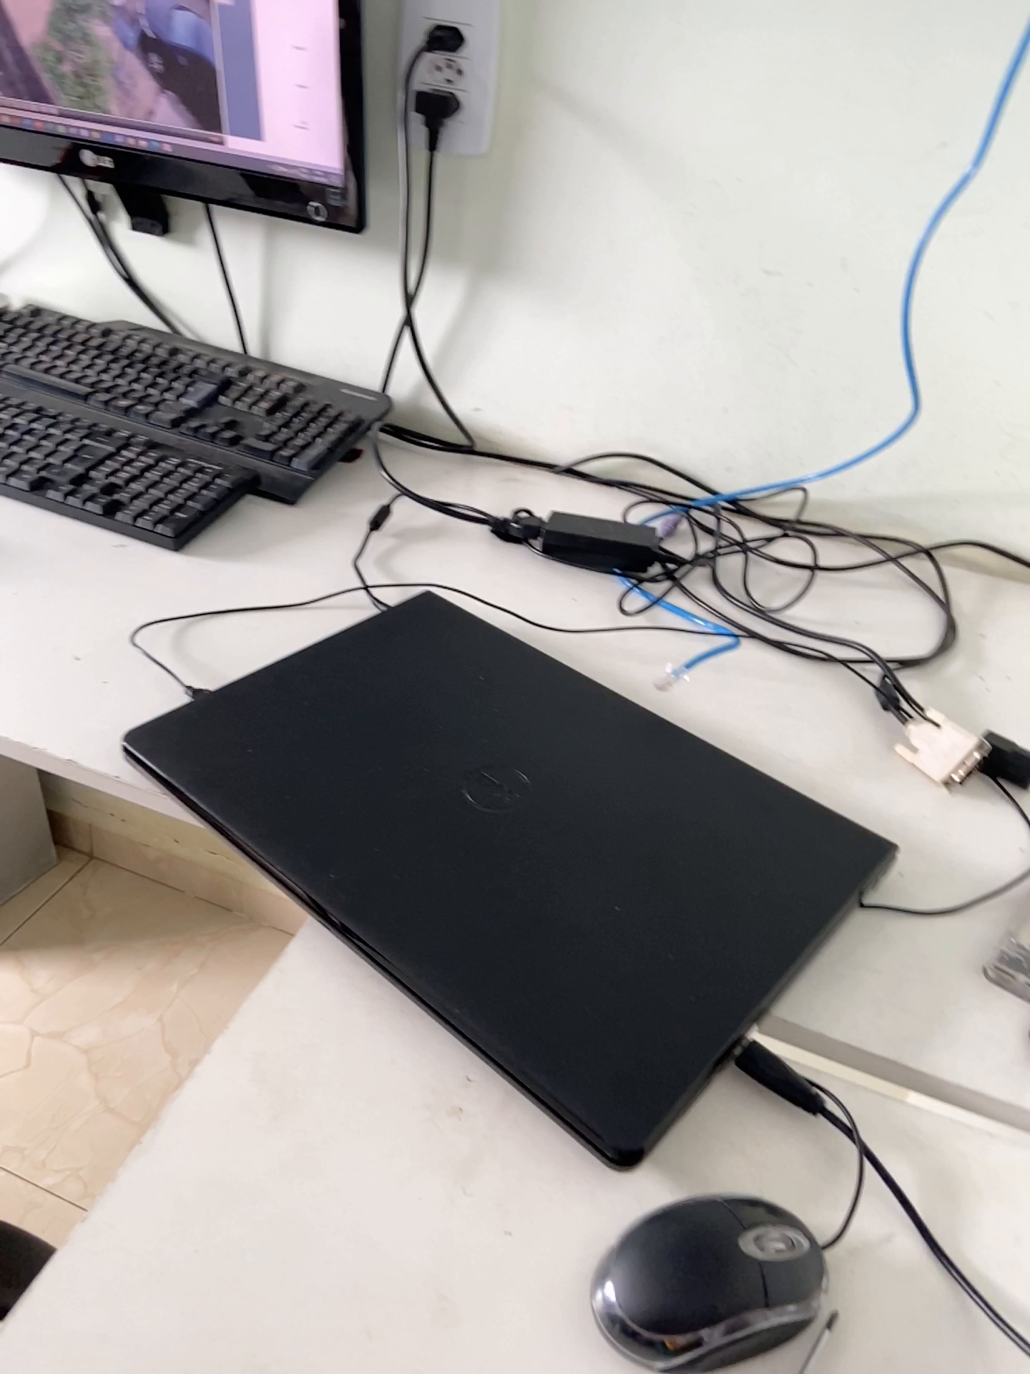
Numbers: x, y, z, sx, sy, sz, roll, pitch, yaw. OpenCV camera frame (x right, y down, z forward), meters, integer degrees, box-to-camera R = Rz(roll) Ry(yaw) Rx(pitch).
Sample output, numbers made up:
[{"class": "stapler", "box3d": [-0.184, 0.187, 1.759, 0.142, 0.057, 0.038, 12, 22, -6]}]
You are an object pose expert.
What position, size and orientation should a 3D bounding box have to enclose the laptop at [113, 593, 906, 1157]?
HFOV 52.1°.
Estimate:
[{"class": "laptop", "box3d": [-0.007, 0.061, 0.607, 0.376, 0.003, 0.261, 30, 41, 30]}]
